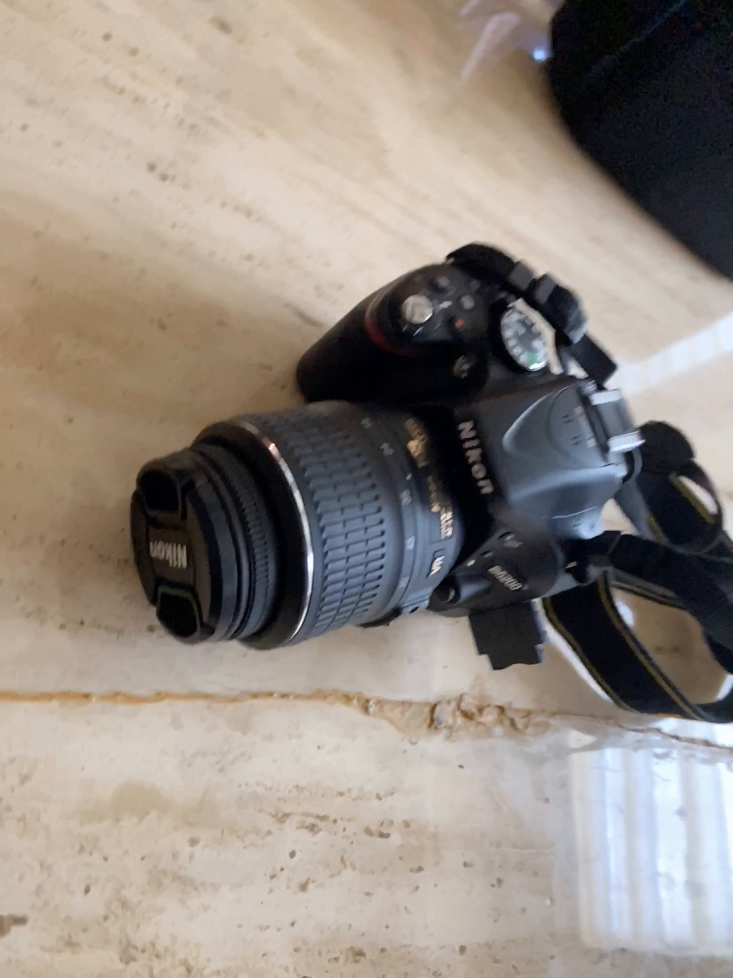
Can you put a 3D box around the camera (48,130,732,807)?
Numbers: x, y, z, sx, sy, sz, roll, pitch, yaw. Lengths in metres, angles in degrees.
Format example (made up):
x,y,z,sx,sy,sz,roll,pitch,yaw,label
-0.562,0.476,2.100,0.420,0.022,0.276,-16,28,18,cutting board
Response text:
x,y,z,sx,sy,sz,roll,pitch,yaw,label
0.011,-0.007,0.250,0.160,0.100,0.152,-12,79,-42,camera
